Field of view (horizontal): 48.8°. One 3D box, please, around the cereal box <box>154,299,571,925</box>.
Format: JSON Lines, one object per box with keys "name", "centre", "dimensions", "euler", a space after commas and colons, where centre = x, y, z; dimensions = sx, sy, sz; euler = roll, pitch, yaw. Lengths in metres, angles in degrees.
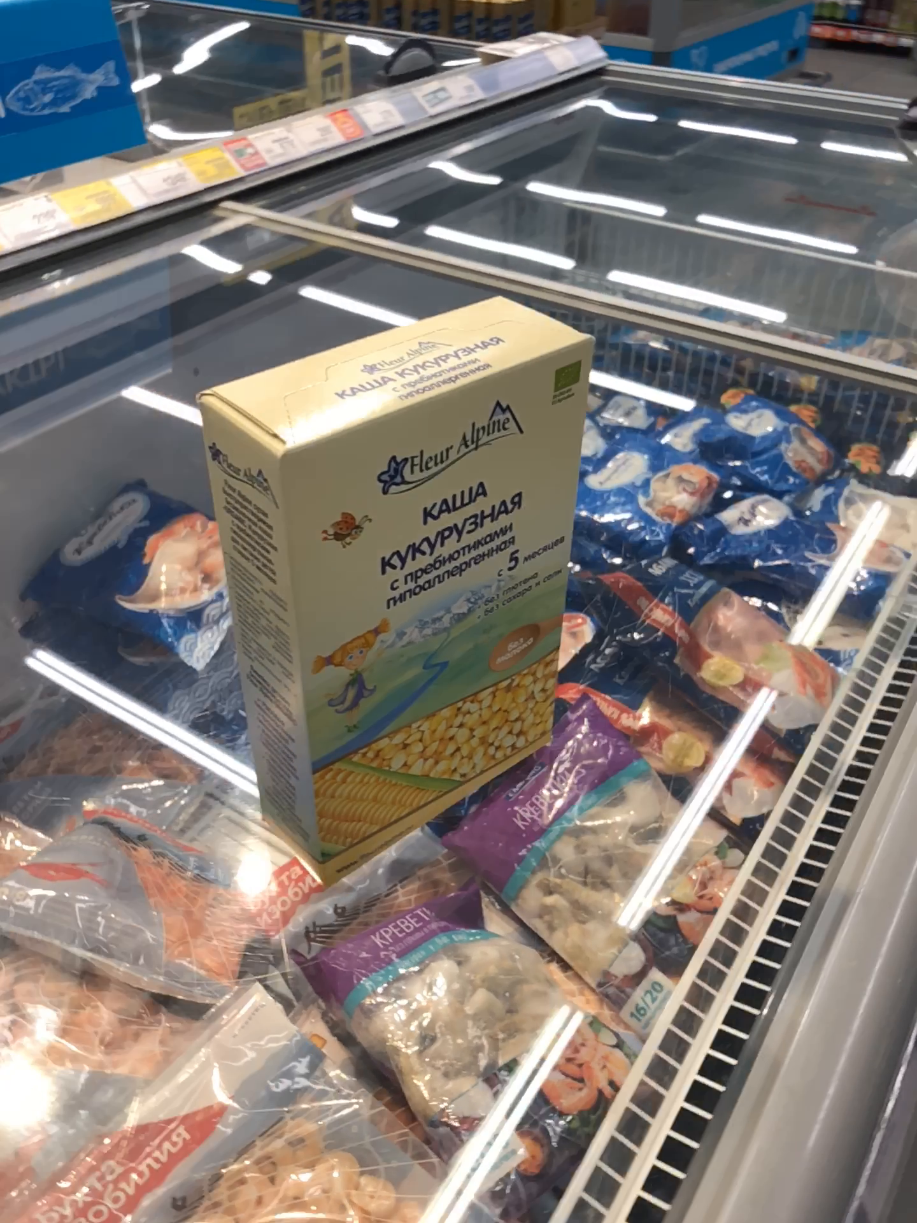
{"name": "cereal box", "centre": [-0.028, 0.005, 0.389], "dimensions": [0.130, 0.209, 0.050], "euler": [-28, 46, -32]}
